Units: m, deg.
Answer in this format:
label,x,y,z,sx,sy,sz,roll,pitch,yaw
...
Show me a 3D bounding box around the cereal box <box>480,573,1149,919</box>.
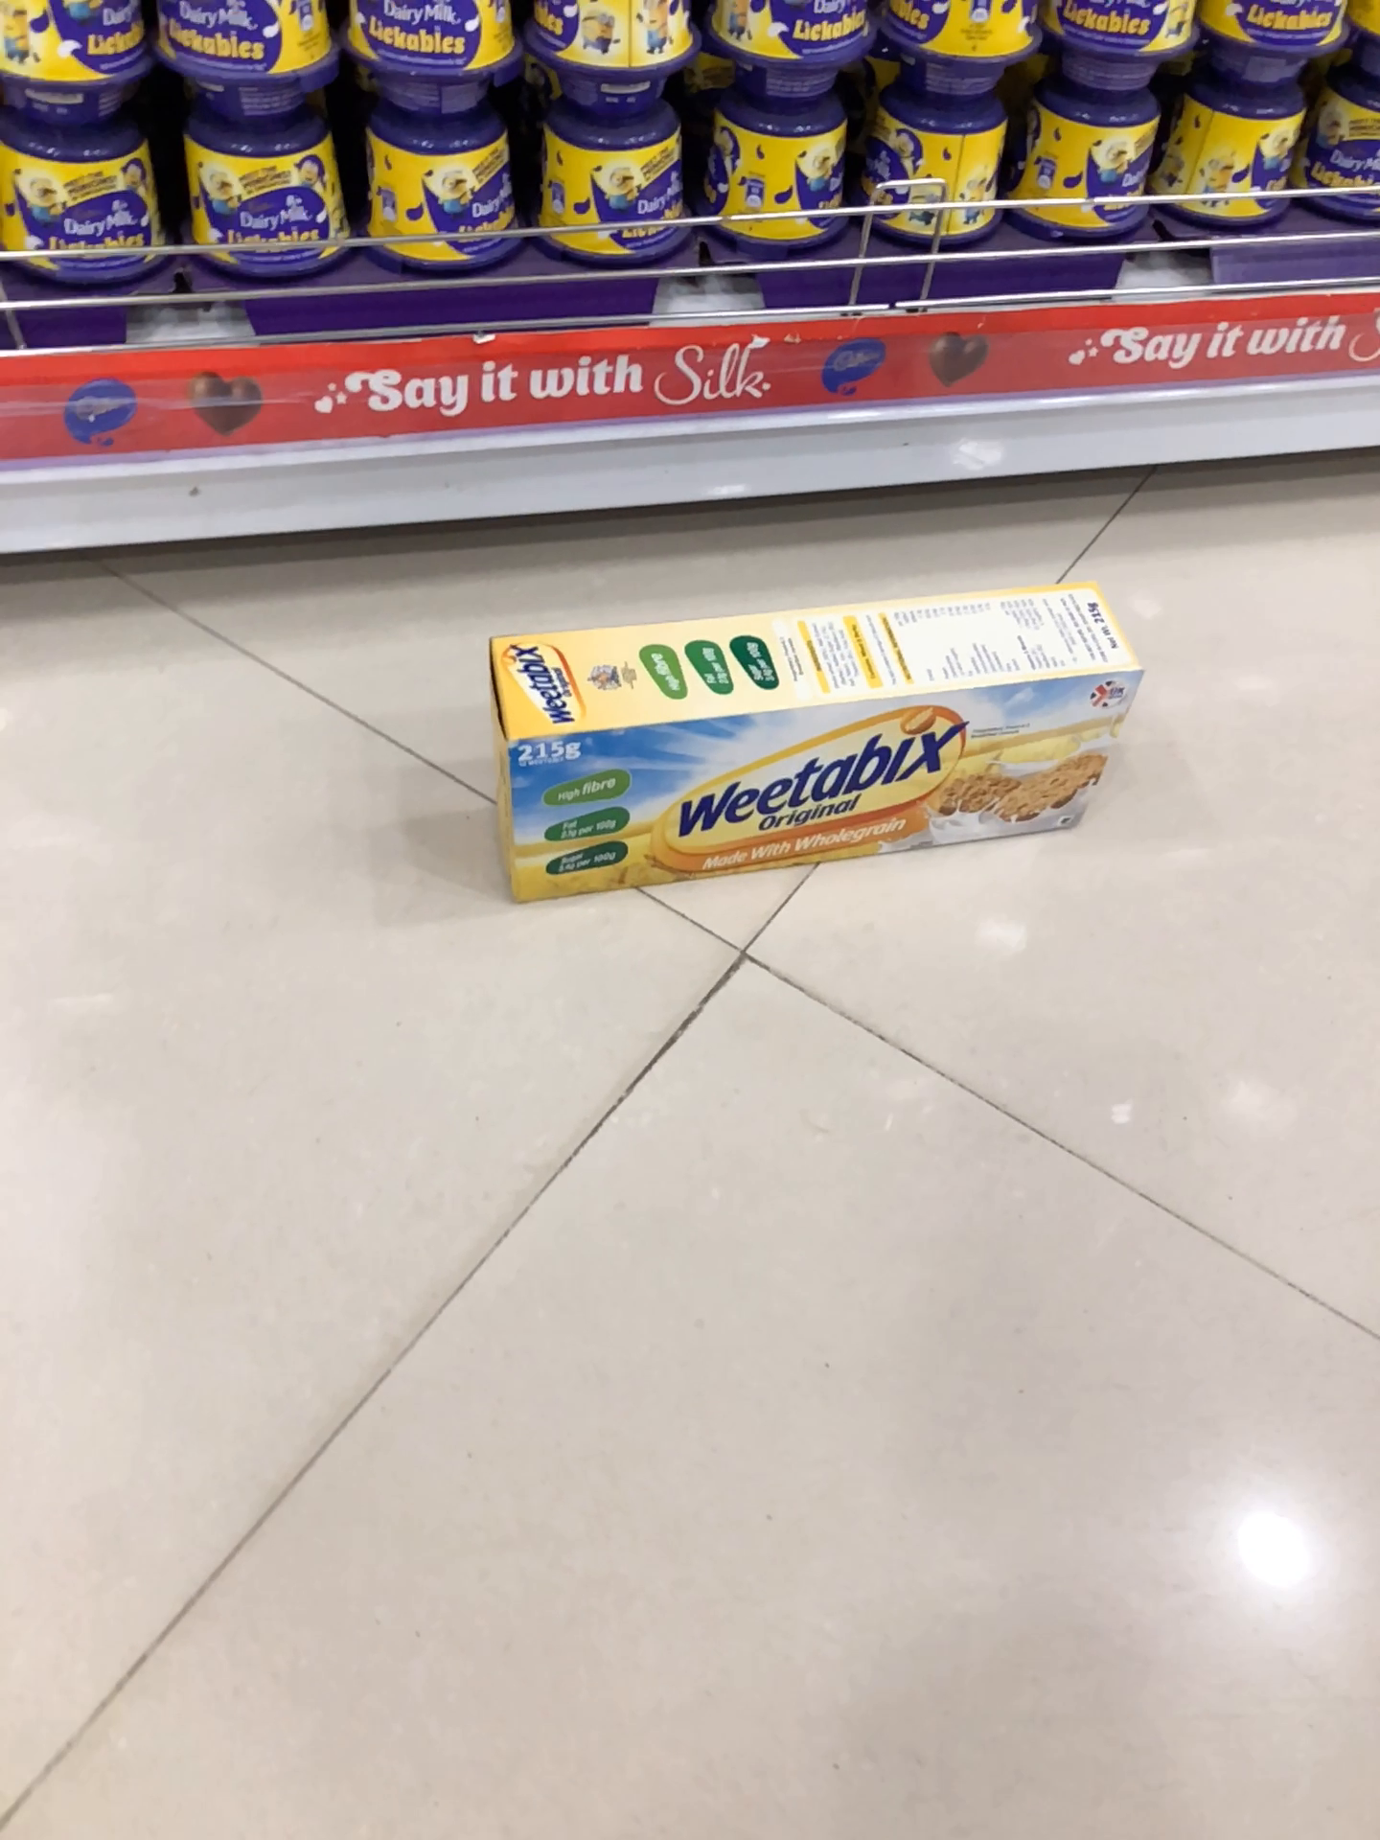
label,x,y,z,sx,sy,sz,roll,pitch,yaw
cereal box,0.045,-0.071,0.619,0.250,0.099,0.060,-8,54,-11
